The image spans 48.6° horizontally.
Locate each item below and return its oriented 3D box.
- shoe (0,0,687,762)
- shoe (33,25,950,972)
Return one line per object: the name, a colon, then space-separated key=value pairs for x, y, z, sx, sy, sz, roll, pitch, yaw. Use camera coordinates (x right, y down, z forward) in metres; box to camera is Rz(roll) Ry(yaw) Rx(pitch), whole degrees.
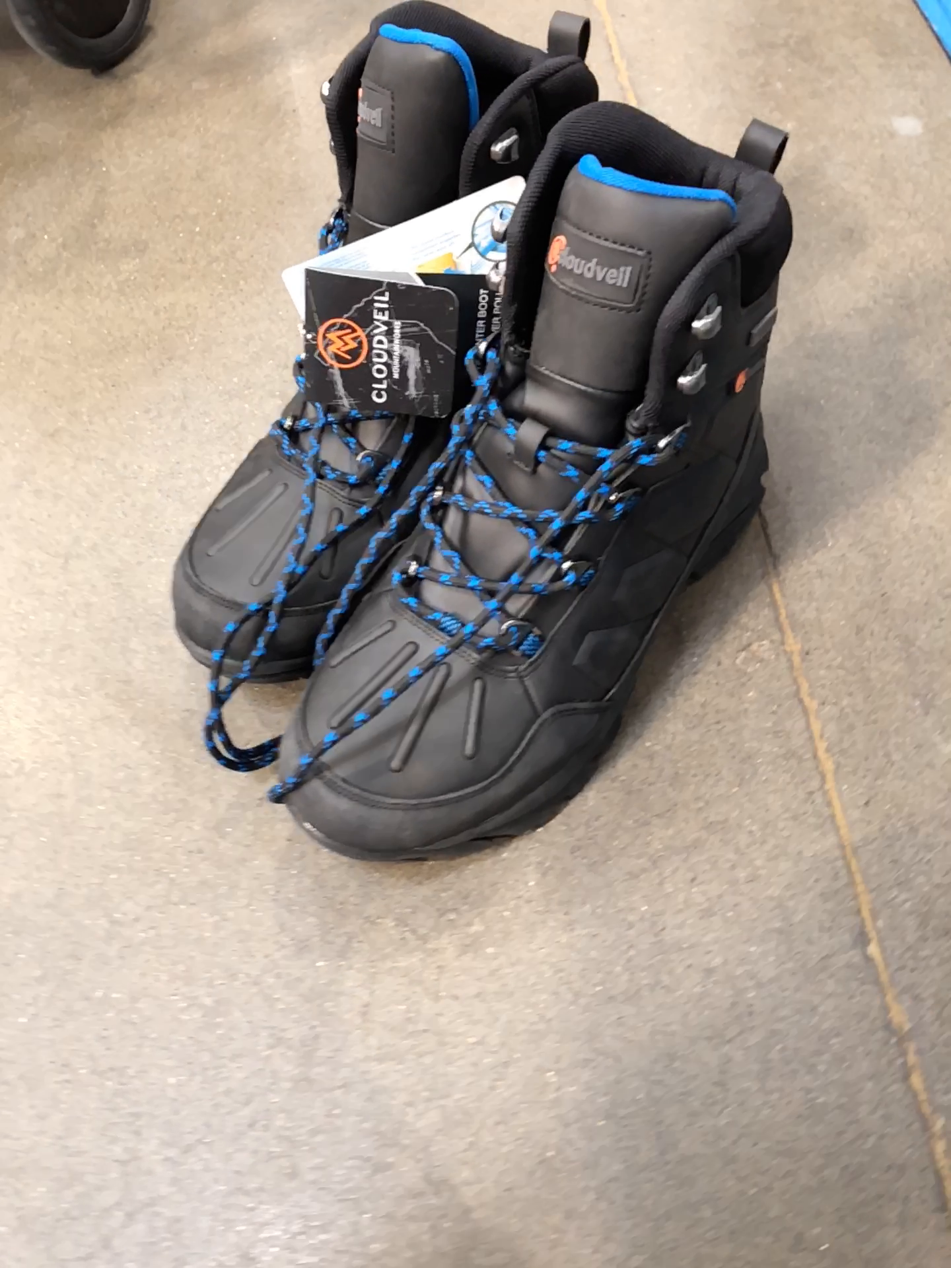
shoe: x=-0.041 y=-0.130 z=0.479 sx=0.120 sy=0.210 sz=0.300 roll=30 pitch=67 yaw=22
shoe: x=0.026 y=-0.047 z=0.420 sx=0.120 sy=0.210 sz=0.300 roll=36 pitch=69 yaw=24
